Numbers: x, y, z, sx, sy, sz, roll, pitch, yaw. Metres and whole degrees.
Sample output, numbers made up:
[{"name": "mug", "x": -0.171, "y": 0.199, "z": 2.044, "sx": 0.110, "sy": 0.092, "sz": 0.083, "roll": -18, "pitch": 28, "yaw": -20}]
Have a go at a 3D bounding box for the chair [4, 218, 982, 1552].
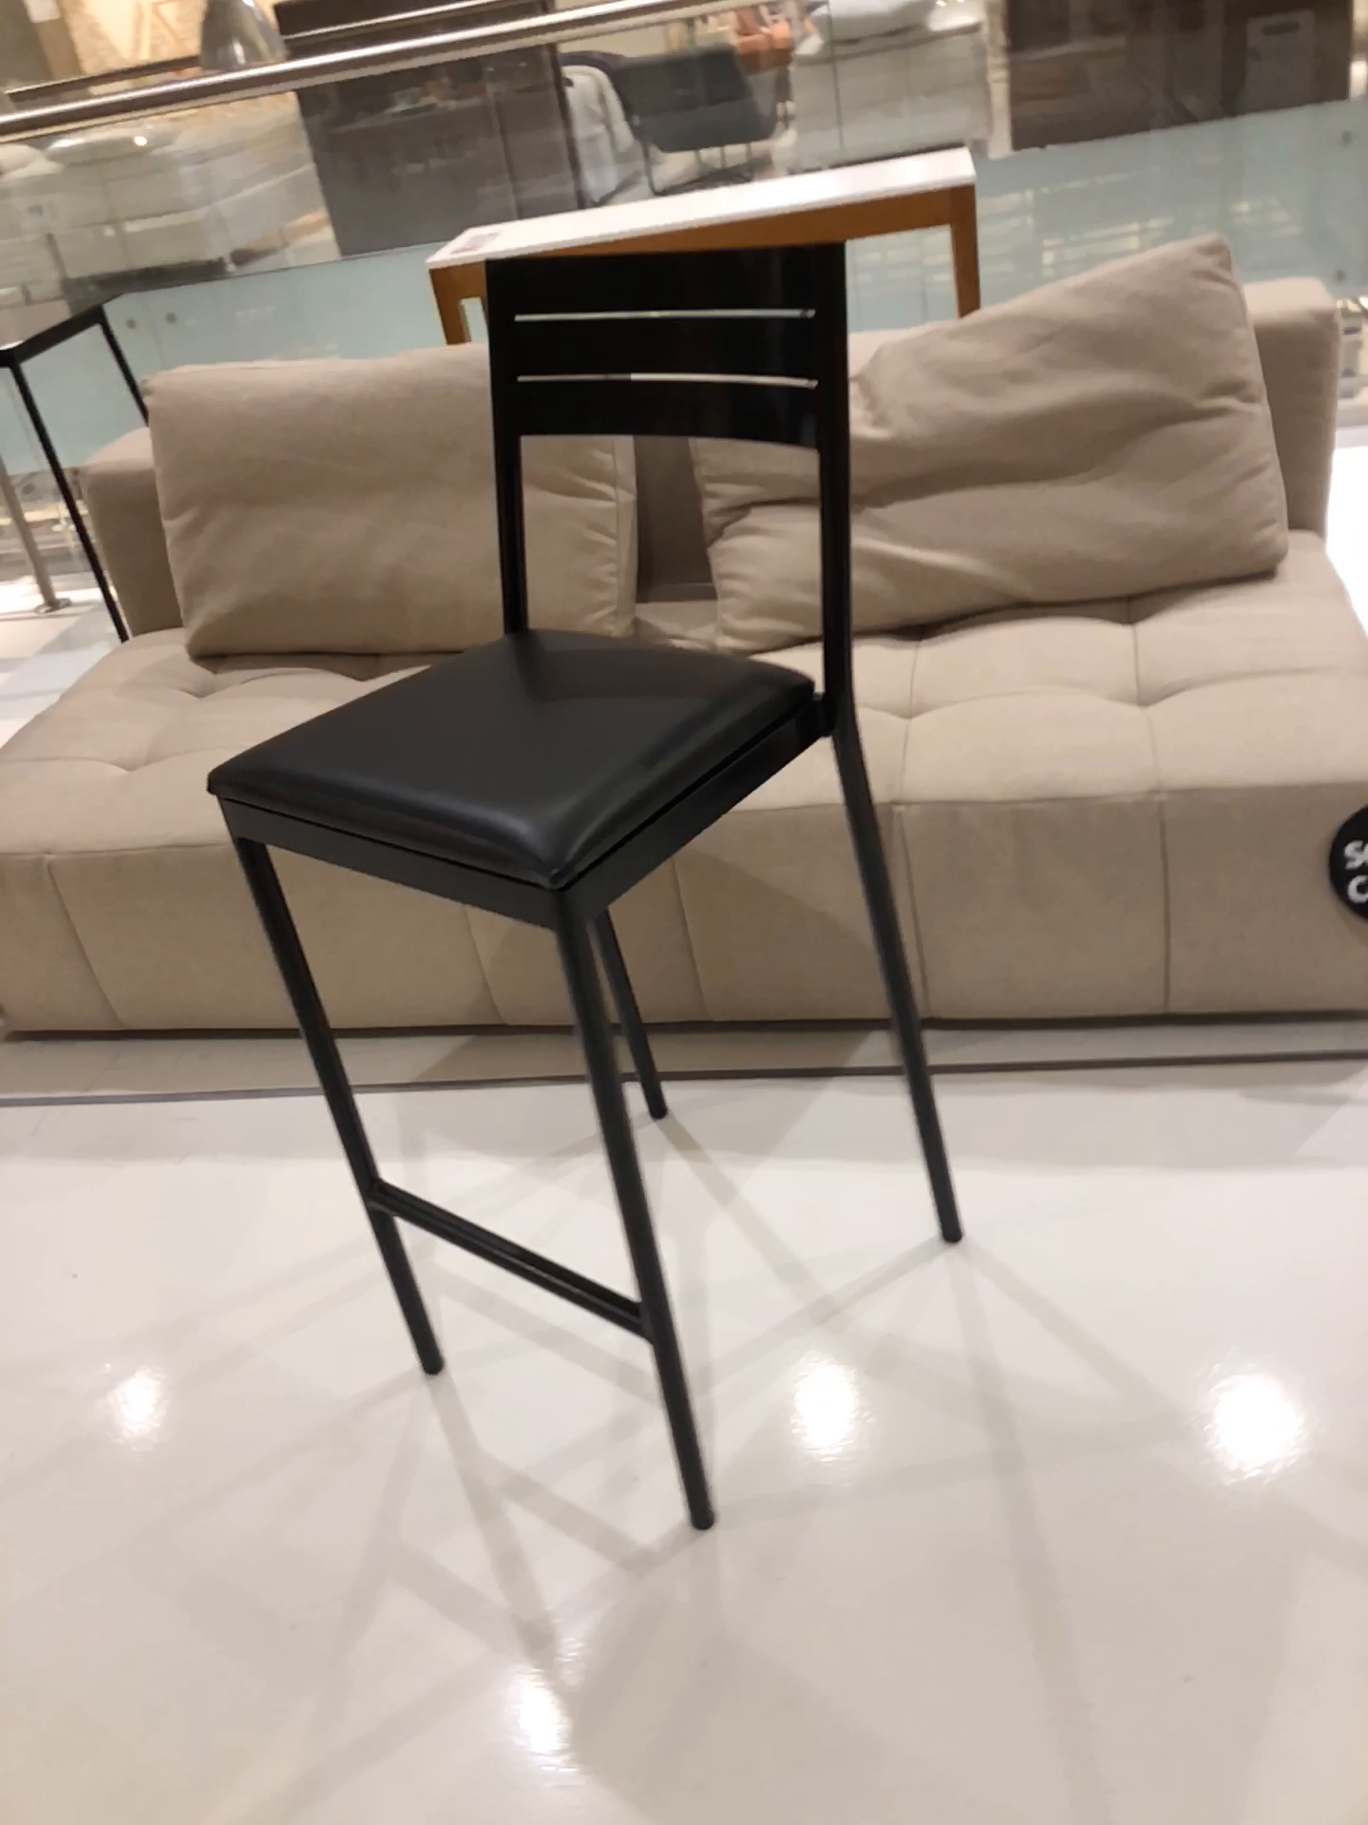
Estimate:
[{"name": "chair", "x": -0.075, "y": -0.021, "z": 1.288, "sx": 0.421, "sy": 0.942, "sz": 0.472, "roll": 14, "pitch": 40, "yaw": 35}]
